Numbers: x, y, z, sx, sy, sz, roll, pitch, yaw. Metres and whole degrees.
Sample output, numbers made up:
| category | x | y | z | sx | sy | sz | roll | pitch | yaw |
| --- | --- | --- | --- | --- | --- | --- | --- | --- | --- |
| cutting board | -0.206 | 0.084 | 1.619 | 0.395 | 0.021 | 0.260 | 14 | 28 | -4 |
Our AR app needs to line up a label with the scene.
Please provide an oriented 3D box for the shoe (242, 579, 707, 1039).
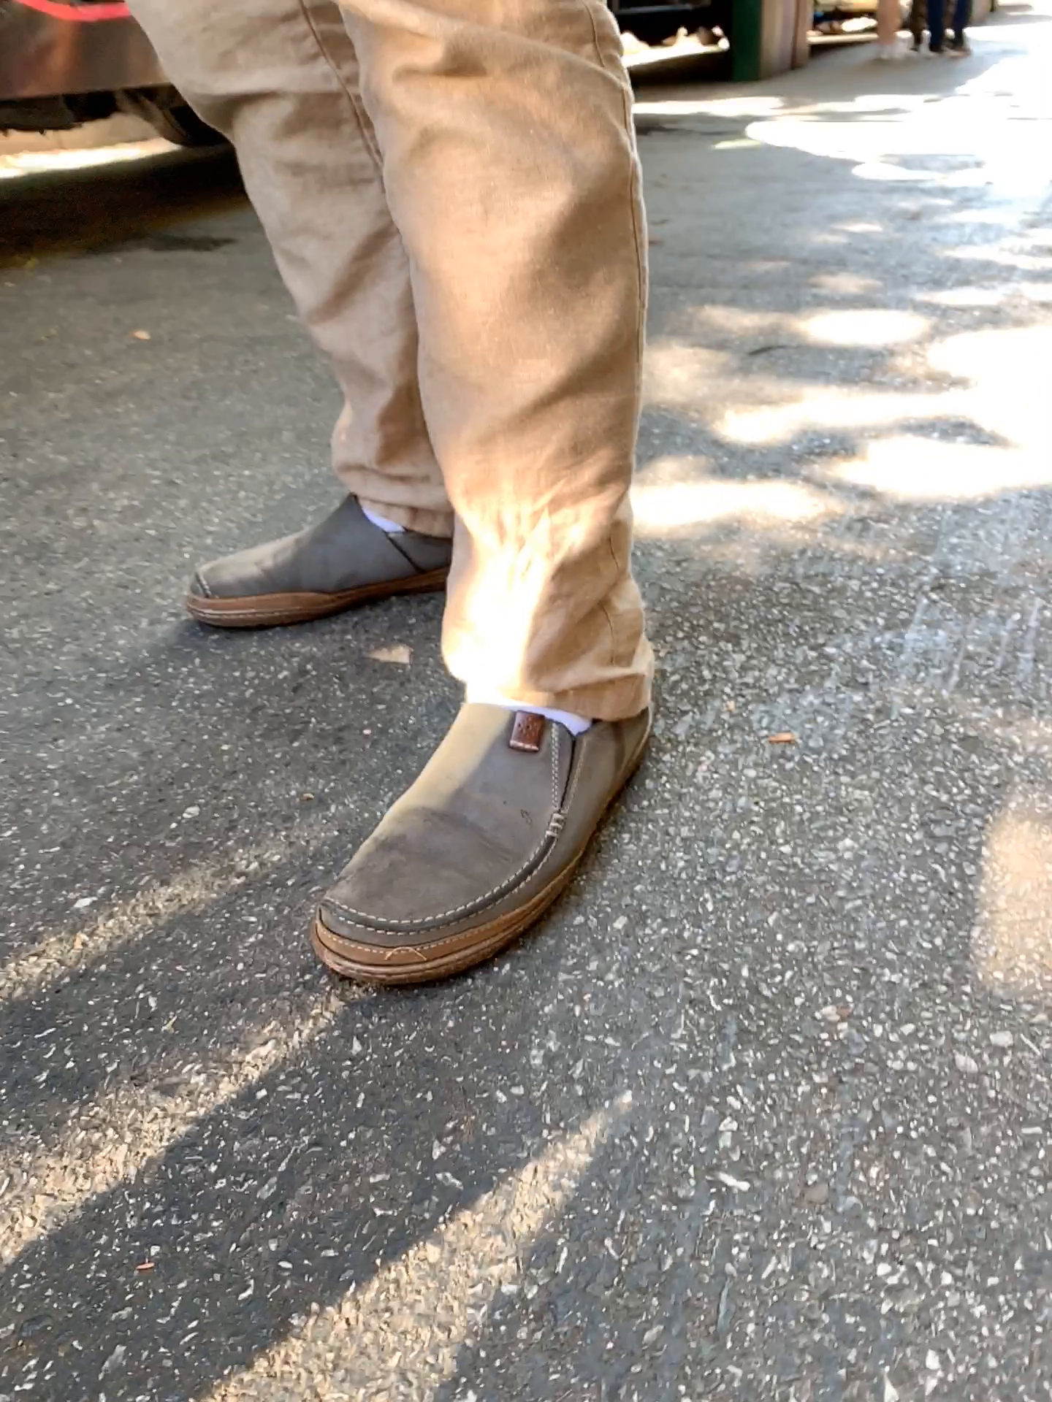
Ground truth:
| category | x | y | z | sx | sy | sz | roll | pitch | yaw |
| --- | --- | --- | --- | --- | --- | --- | --- | --- | --- |
| shoe | -0.007 | 0.038 | 0.641 | 0.120 | 0.080 | 0.321 | 12 | 36 | 27 |

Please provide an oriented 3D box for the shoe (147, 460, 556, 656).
| category | x | y | z | sx | sy | sz | roll | pitch | yaw |
| --- | --- | --- | --- | --- | --- | --- | --- | --- | --- |
| shoe | -0.147 | -0.128 | 0.918 | 0.320 | 0.060 | 0.121 | -15 | 32 | -15 |
